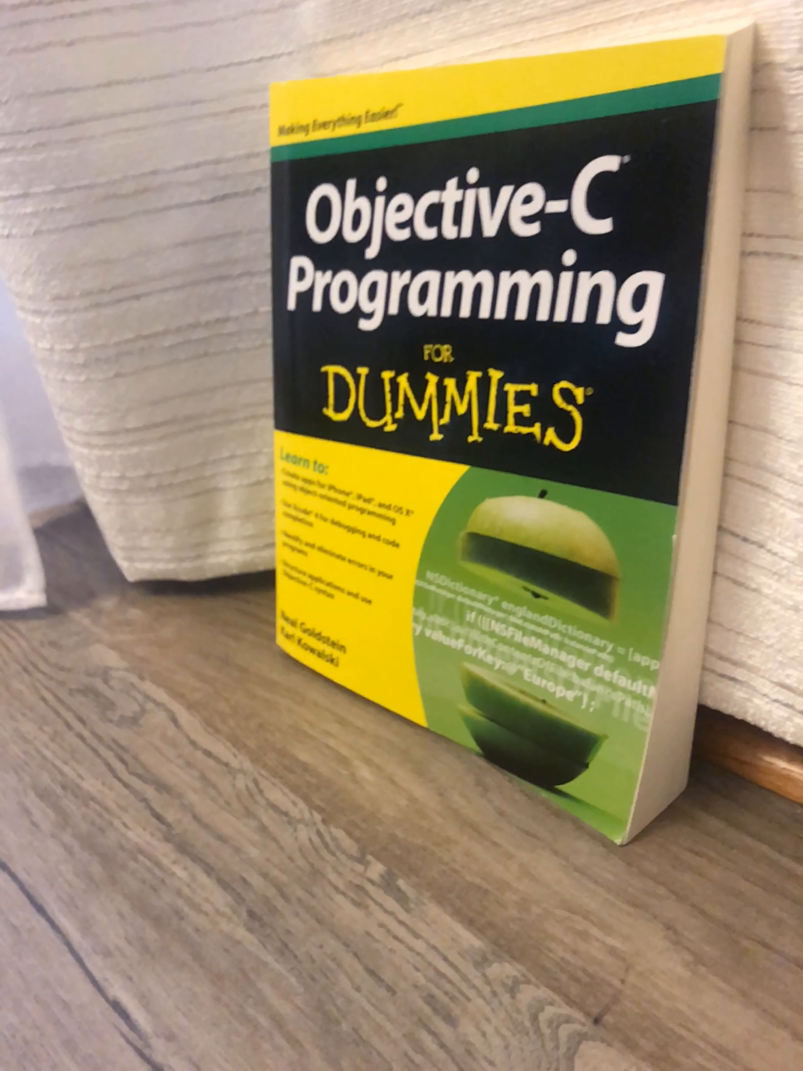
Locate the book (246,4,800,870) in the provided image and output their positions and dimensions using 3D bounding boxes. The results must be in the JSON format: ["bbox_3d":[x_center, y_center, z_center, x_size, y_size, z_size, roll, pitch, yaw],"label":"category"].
[{"bbox_3d":[0.019,-0.034,0.305,0.033,0.230,0.184,-17,26,-42],"label":"book"}]
